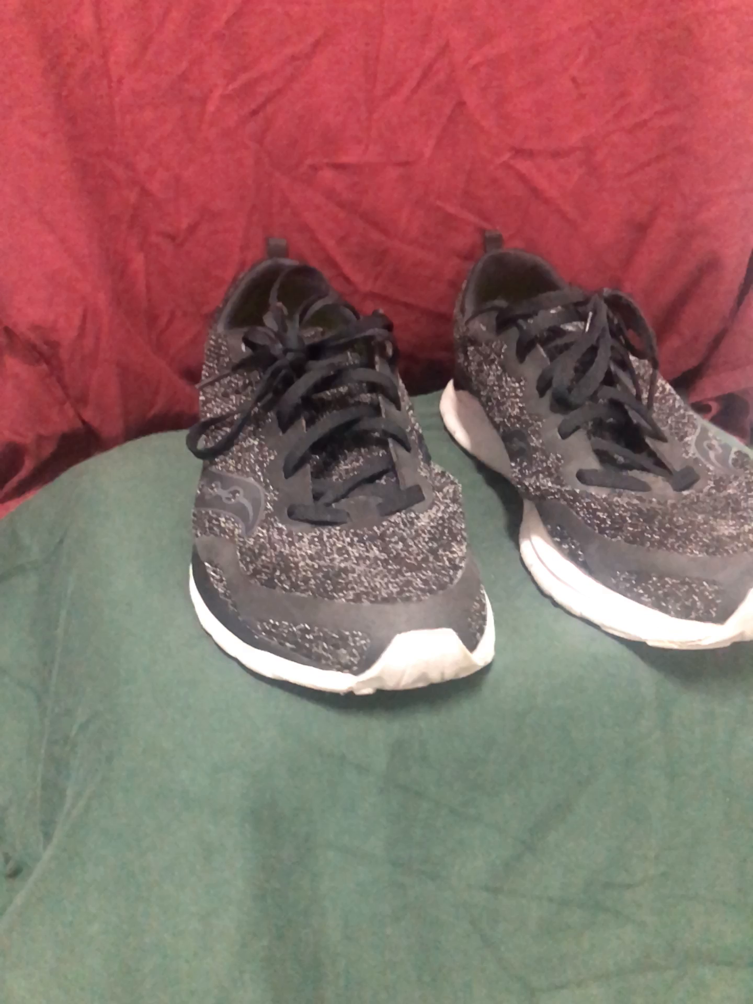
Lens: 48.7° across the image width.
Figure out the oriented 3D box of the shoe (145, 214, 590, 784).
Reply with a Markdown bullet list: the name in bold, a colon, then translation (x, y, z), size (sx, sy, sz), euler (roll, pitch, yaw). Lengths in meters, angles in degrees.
- **shoe**: translation (-0.029, -0.034, 0.358), size (0.120, 0.099, 0.272), euler (-9, 34, -10)

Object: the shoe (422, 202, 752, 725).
- **shoe**: translation (0.112, -0.045, 0.369), size (0.120, 0.099, 0.262), euler (-9, 34, -8)
